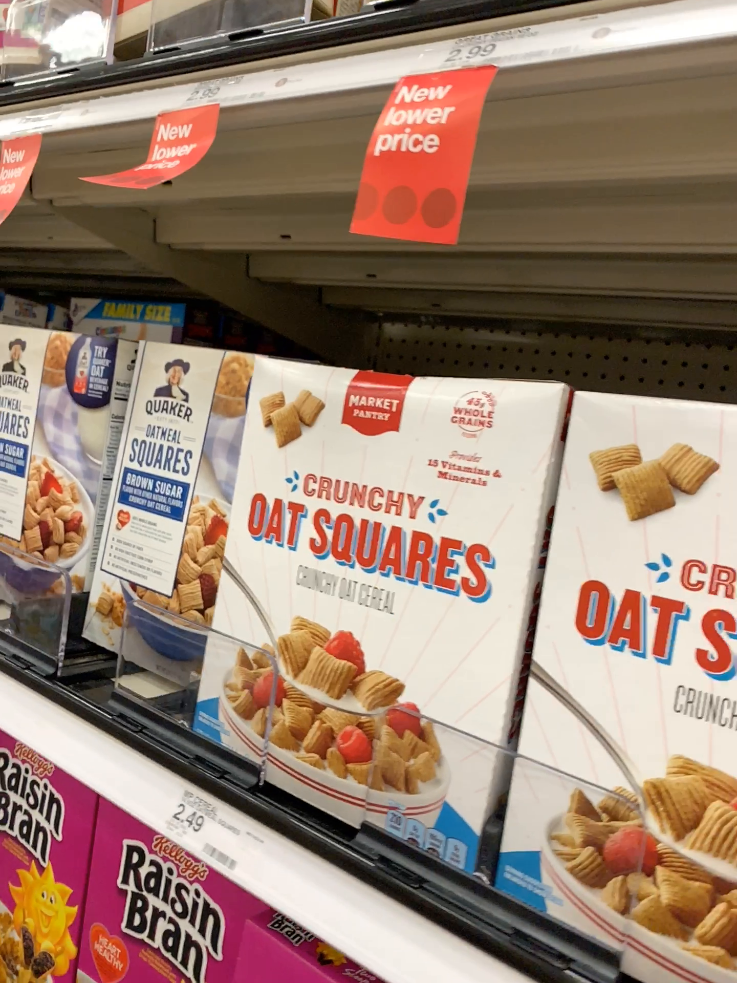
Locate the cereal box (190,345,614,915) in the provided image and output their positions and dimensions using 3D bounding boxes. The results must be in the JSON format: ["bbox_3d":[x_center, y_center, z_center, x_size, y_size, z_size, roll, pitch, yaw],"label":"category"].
[{"bbox_3d":[0.009,0.057,0.422,0.190,0.250,0.060,12,4,32],"label":"cereal box"}]
